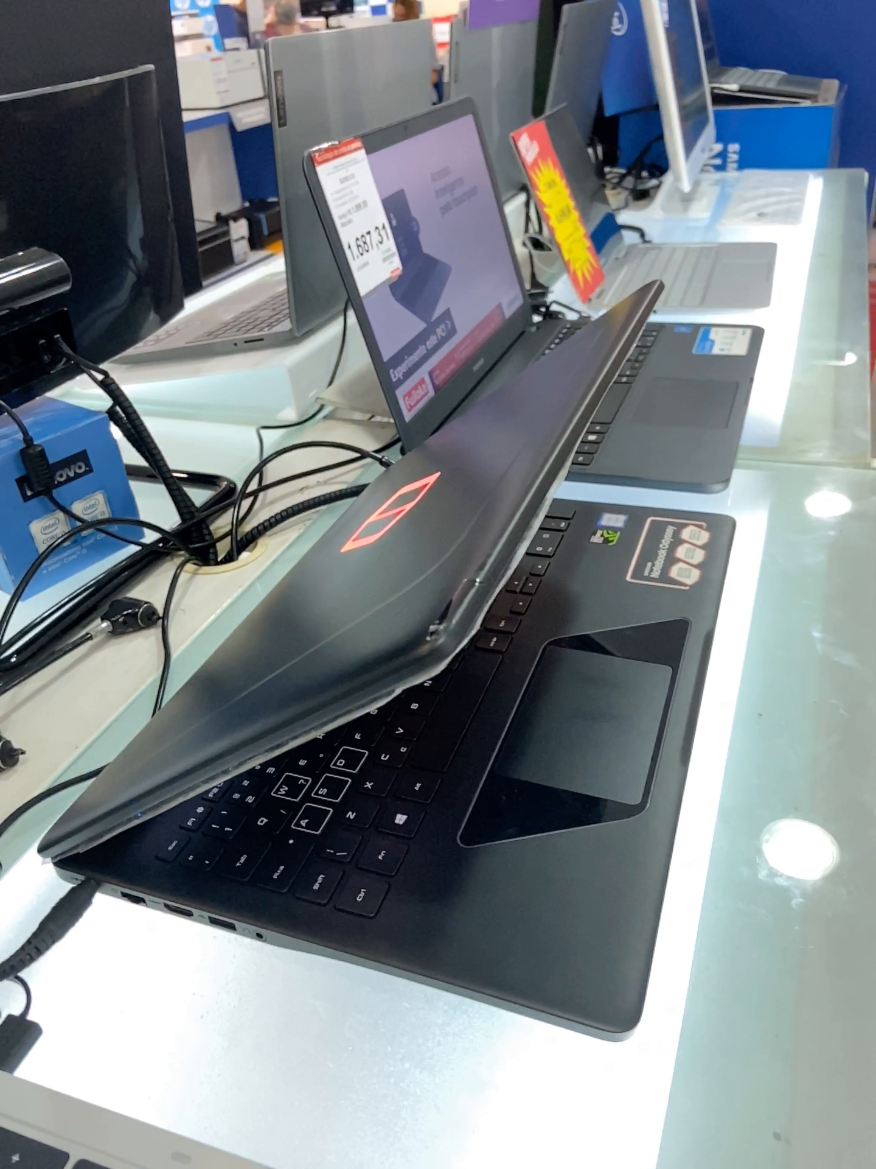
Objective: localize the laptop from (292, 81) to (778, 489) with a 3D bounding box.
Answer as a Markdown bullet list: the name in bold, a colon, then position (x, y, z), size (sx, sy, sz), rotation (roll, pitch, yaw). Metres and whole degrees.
- **laptop**: position (0.120, -0.288, 0.798), size (0.307, 0.234, 0.415), rotation (6, 33, 20)

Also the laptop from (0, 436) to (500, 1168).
- **laptop**: position (-0.228, 0.194, 0.082), size (0.344, 0.223, 0.434), rotation (8, 35, 19)

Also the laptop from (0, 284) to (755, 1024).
- **laptop**: position (0.002, -0.024, 0.457), size (0.258, 0.152, 0.370), rotation (7, 34, 21)

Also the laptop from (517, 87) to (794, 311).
- **laptop**: position (0.297, -0.515, 1.199), size (0.298, 0.202, 0.309), rotation (6, 35, 18)
